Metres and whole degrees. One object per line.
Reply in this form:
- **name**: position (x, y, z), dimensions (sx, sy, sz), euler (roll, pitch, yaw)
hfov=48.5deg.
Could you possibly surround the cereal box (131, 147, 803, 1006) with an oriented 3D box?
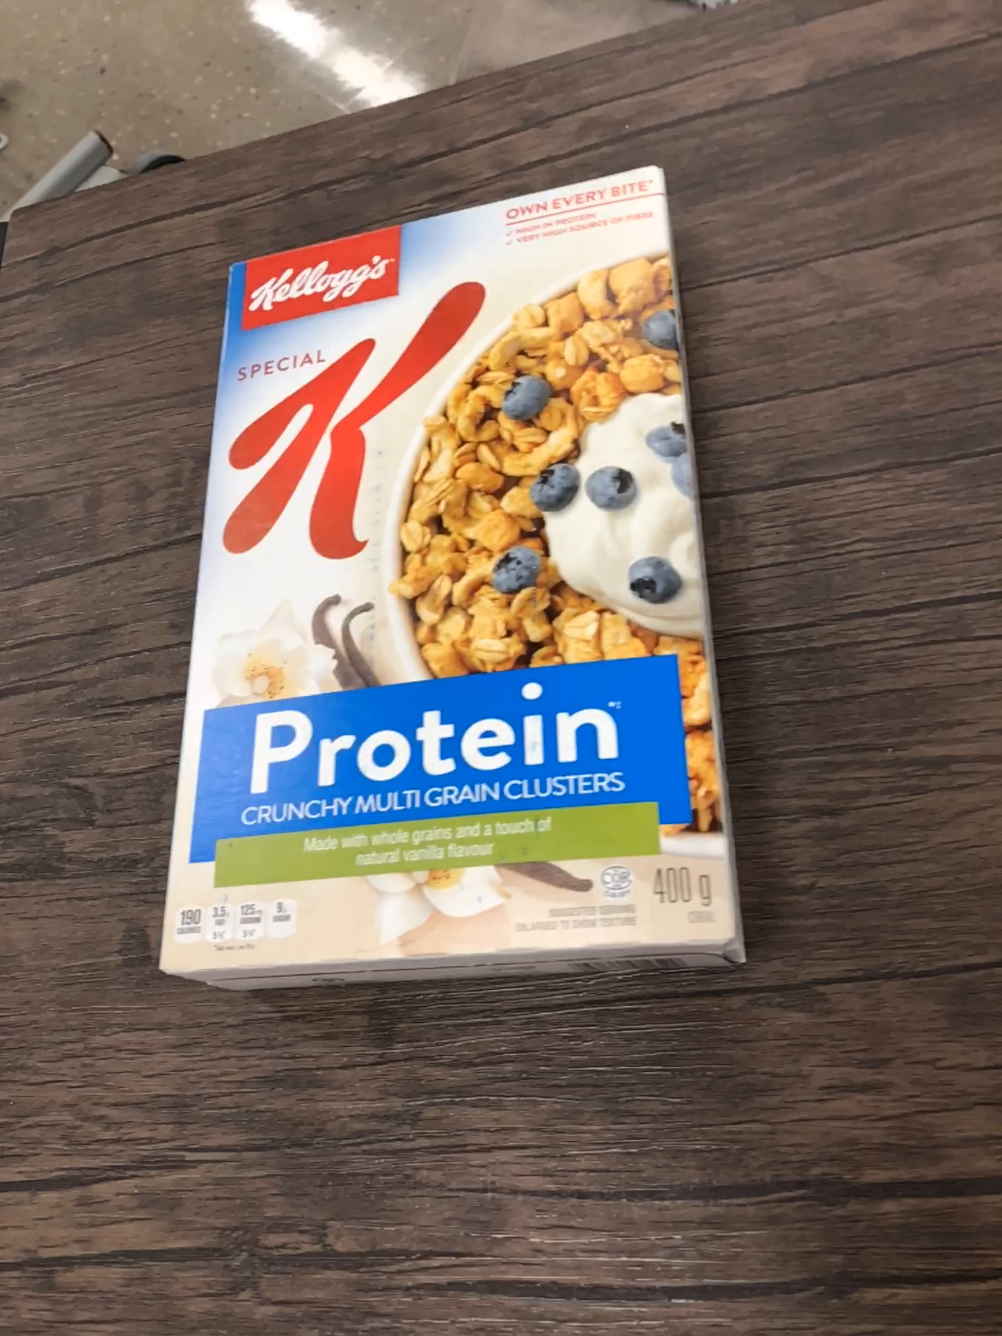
- **cereal box**: position (-0.012, -0.032, 0.360), dimensions (0.180, 0.050, 0.260), euler (-7, 66, 15)
